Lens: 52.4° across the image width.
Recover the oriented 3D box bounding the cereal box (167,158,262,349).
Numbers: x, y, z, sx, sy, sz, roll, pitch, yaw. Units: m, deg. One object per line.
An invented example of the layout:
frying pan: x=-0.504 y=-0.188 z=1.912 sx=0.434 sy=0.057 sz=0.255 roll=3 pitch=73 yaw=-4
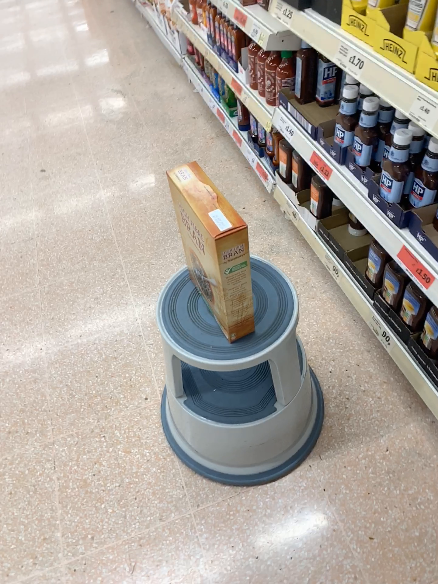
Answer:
cereal box: x=-0.003 y=-0.062 z=0.794 sx=0.060 sy=0.277 sz=0.202 roll=-23 pitch=49 yaw=-12
